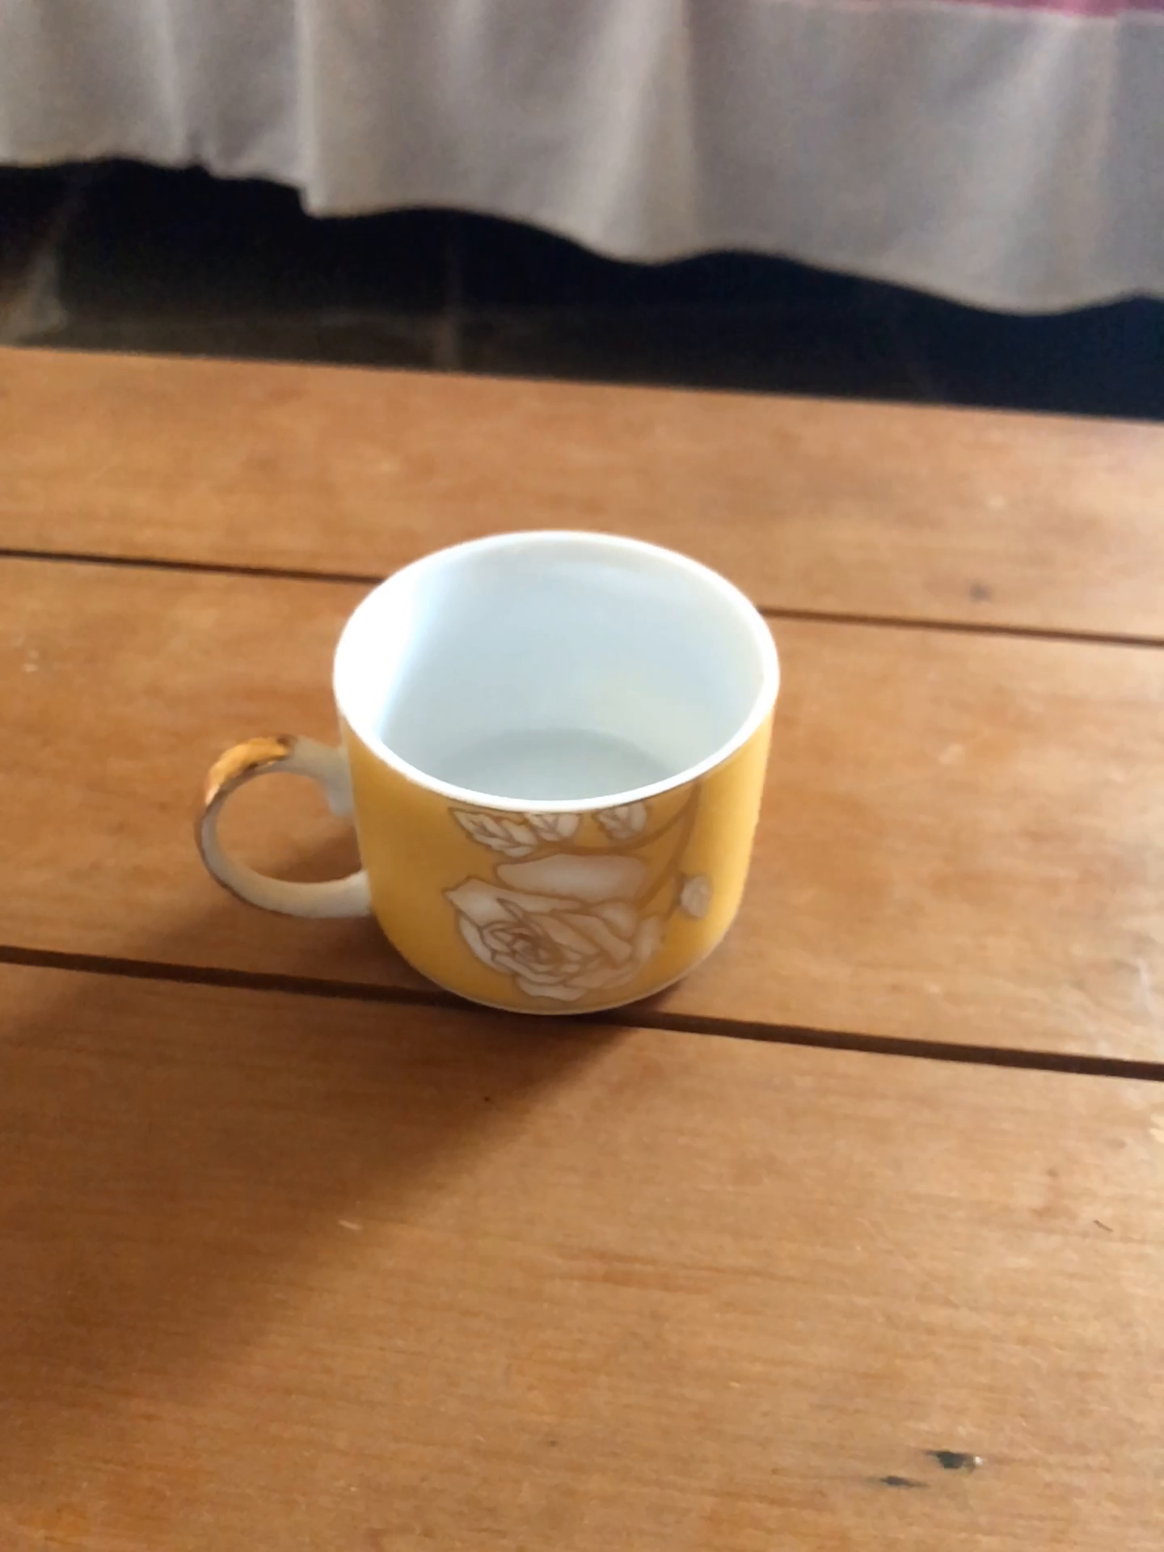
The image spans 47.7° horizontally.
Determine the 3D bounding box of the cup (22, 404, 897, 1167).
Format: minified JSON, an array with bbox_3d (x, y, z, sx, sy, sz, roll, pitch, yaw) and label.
[{"bbox_3d":[-0.019,-0.004,0.179,0.090,0.050,0.070,-15,46,-17],"label":"cup"}]
